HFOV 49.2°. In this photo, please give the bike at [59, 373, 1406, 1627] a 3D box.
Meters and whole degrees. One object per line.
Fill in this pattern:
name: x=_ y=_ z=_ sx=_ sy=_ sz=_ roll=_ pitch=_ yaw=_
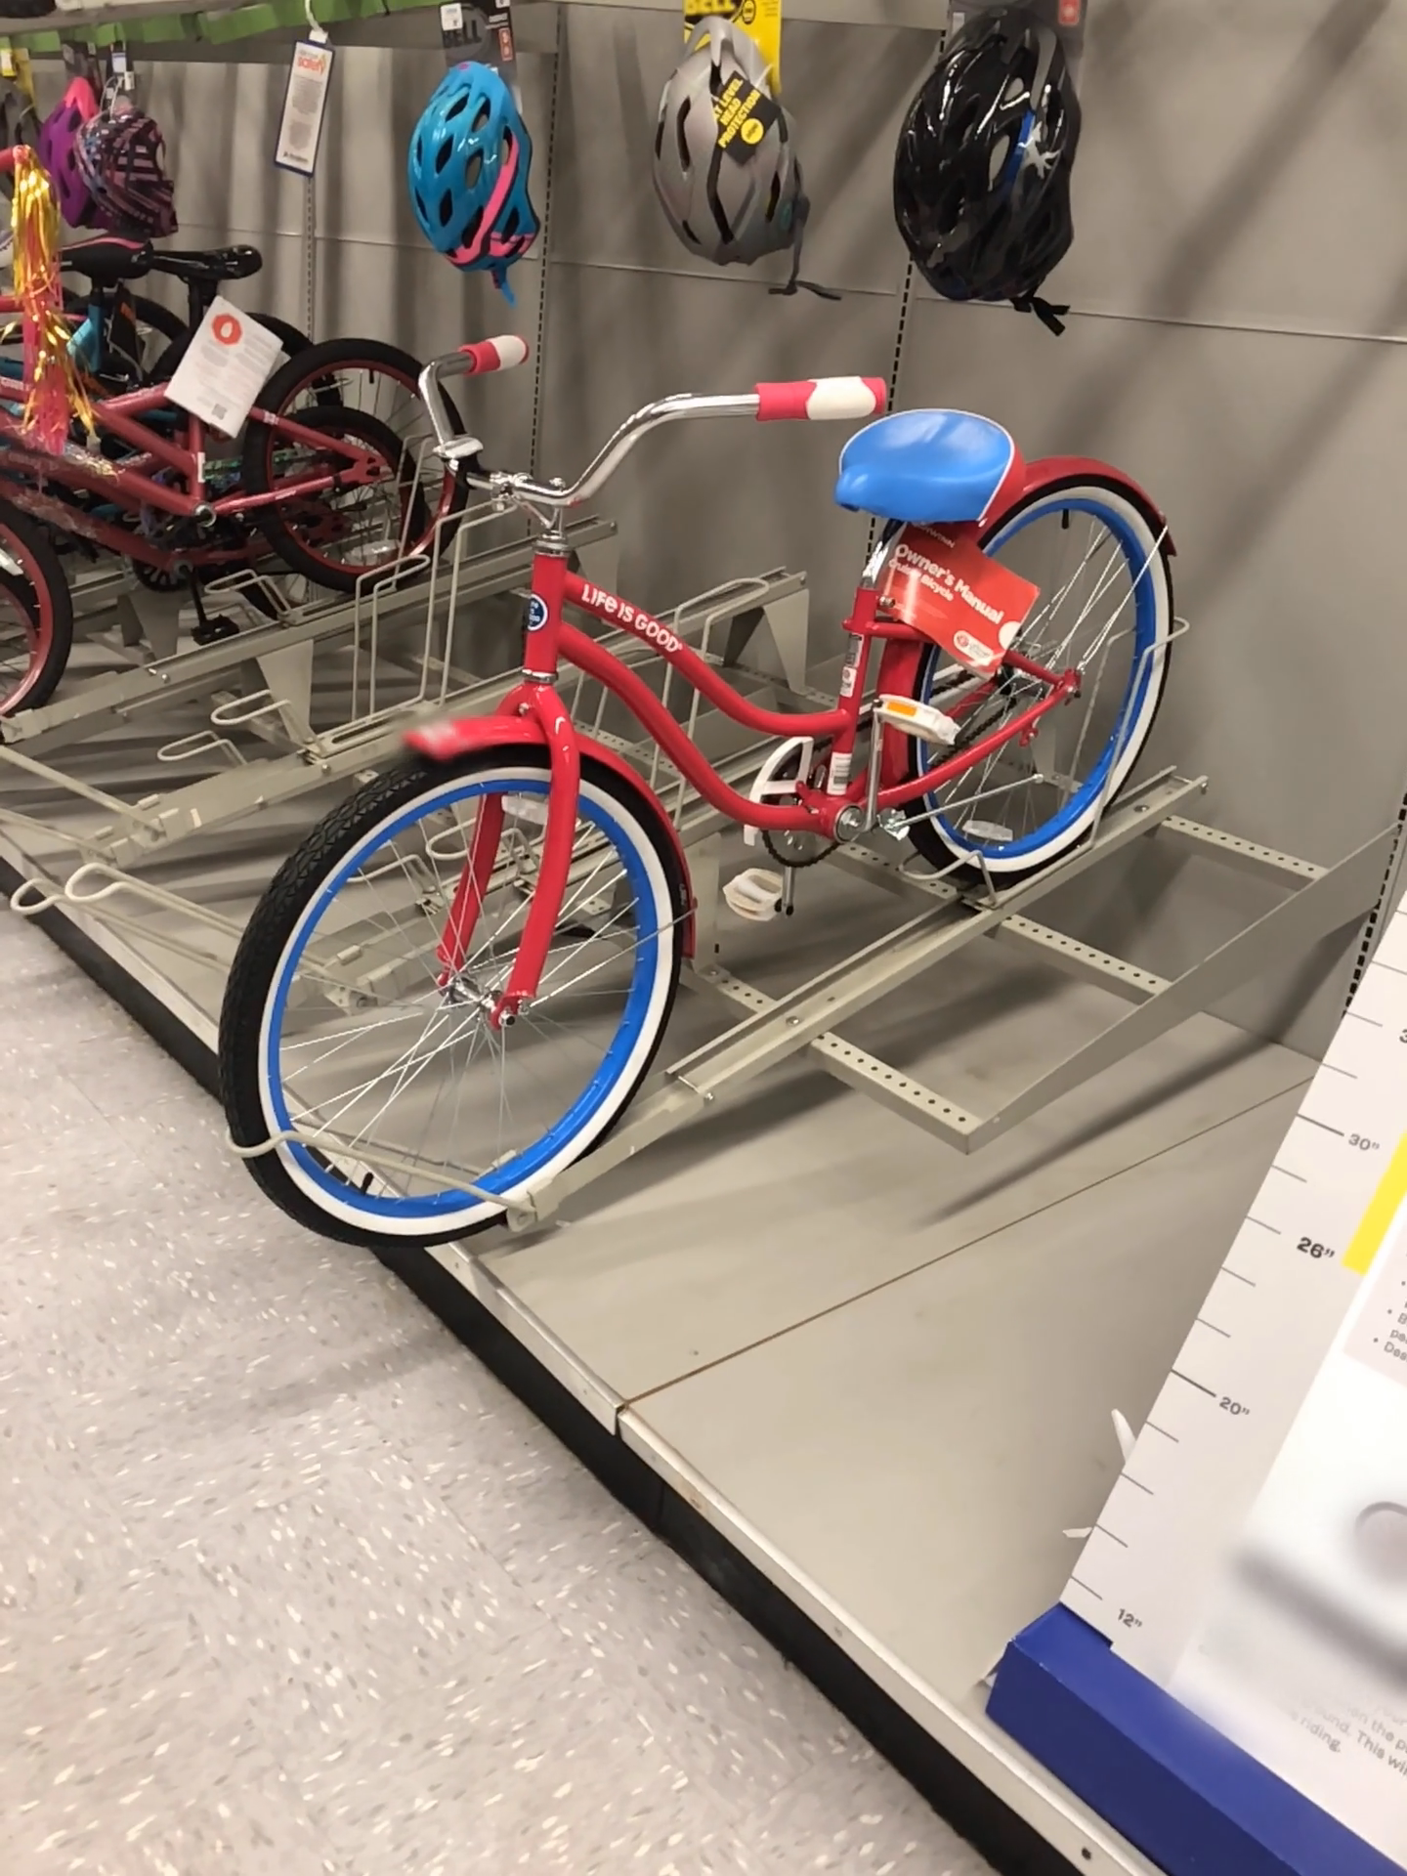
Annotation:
bike: x=0.075 y=-0.133 z=2.075 sx=1.608 sy=0.676 sz=0.813 roll=-28 pitch=38 yaw=-31
